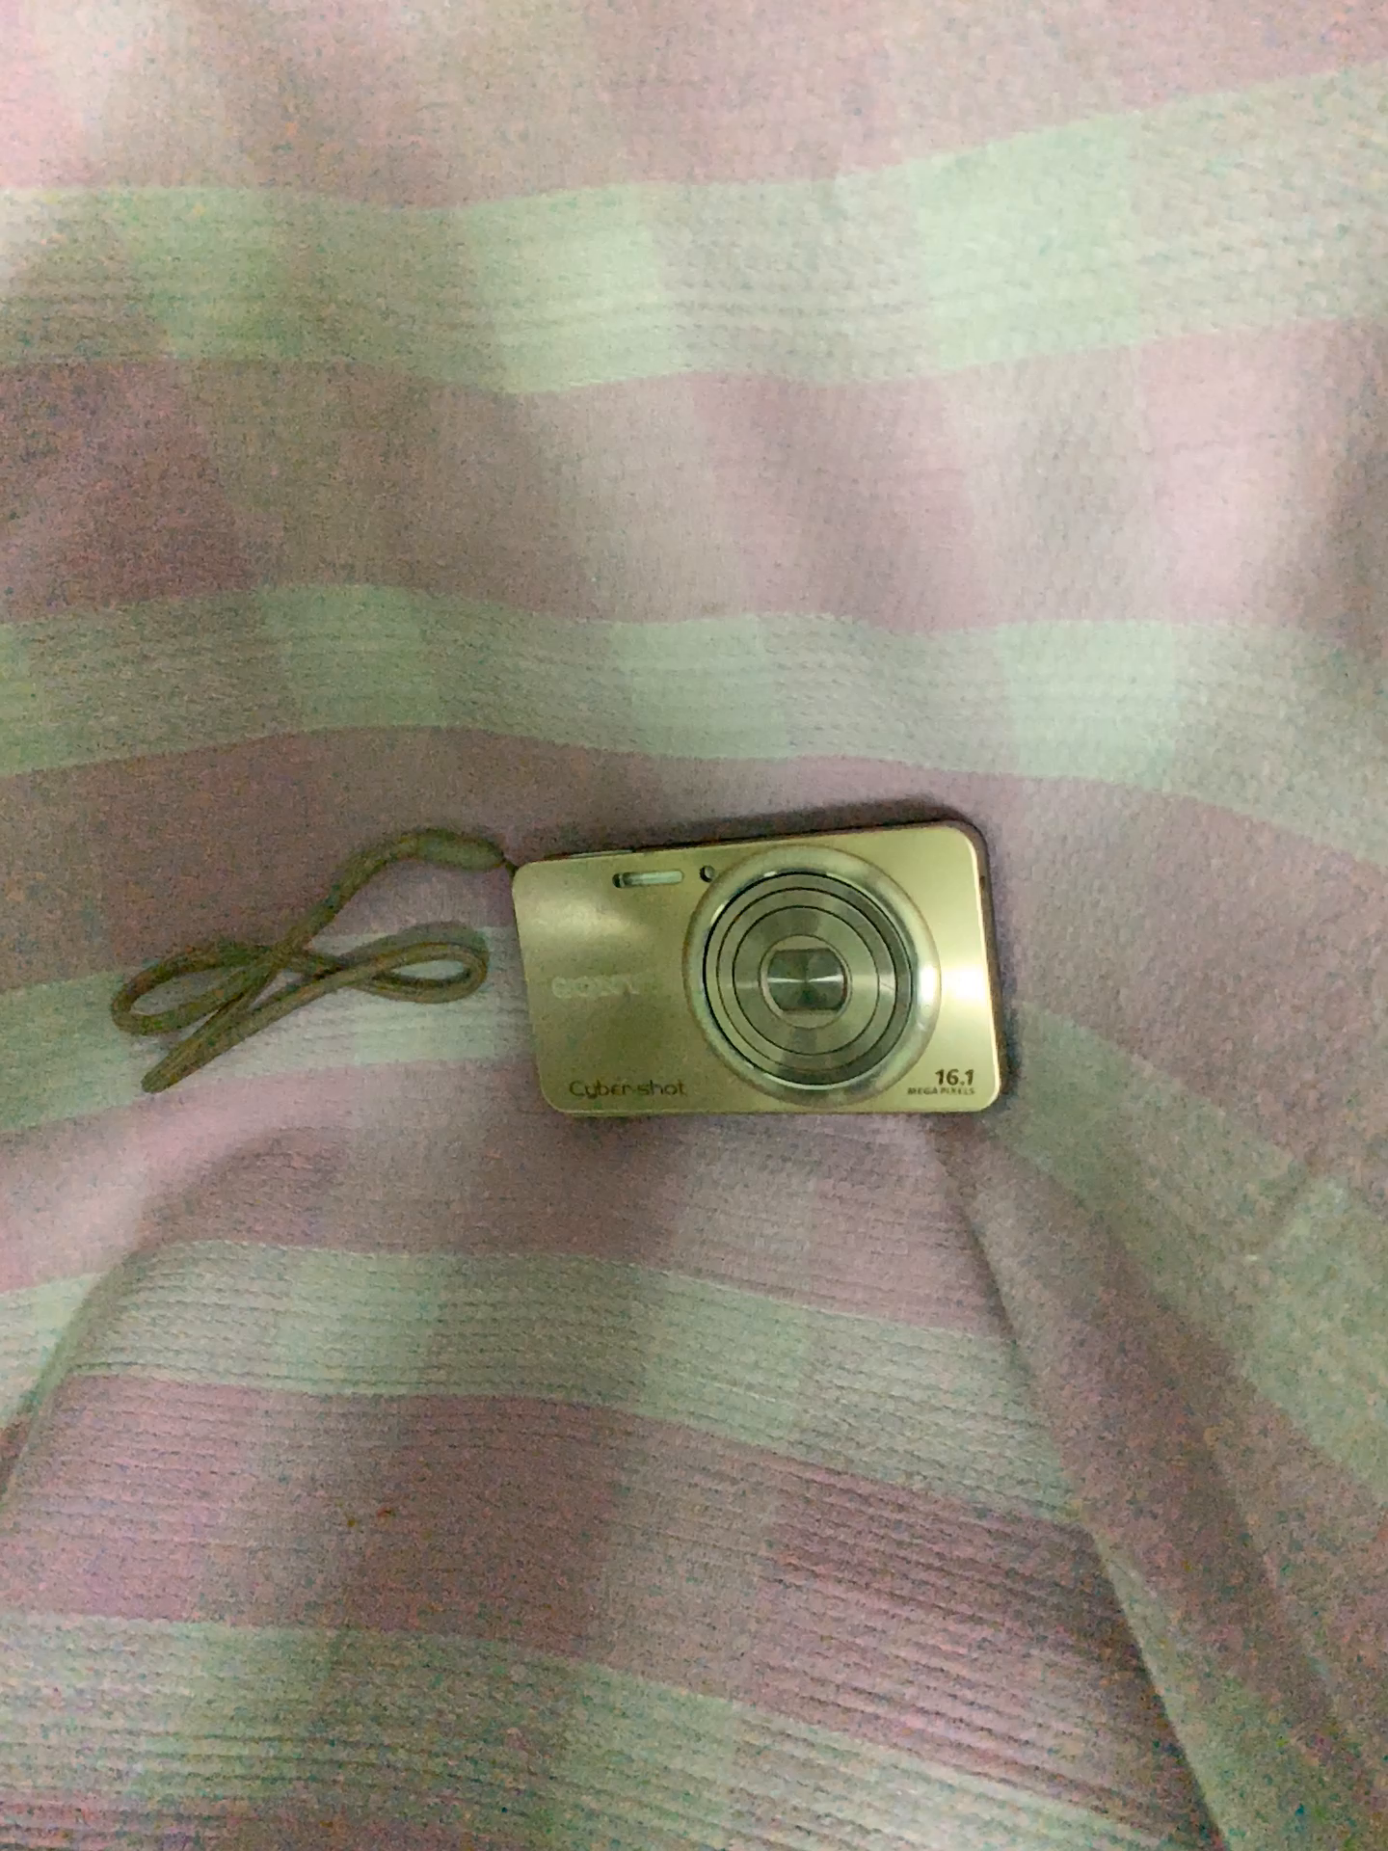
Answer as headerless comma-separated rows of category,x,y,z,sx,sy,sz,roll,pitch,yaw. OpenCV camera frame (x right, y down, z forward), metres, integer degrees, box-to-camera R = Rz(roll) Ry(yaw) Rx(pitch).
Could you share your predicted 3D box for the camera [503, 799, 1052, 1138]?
camera,0.015,0.009,0.264,0.092,0.027,0.053,-5,97,24
